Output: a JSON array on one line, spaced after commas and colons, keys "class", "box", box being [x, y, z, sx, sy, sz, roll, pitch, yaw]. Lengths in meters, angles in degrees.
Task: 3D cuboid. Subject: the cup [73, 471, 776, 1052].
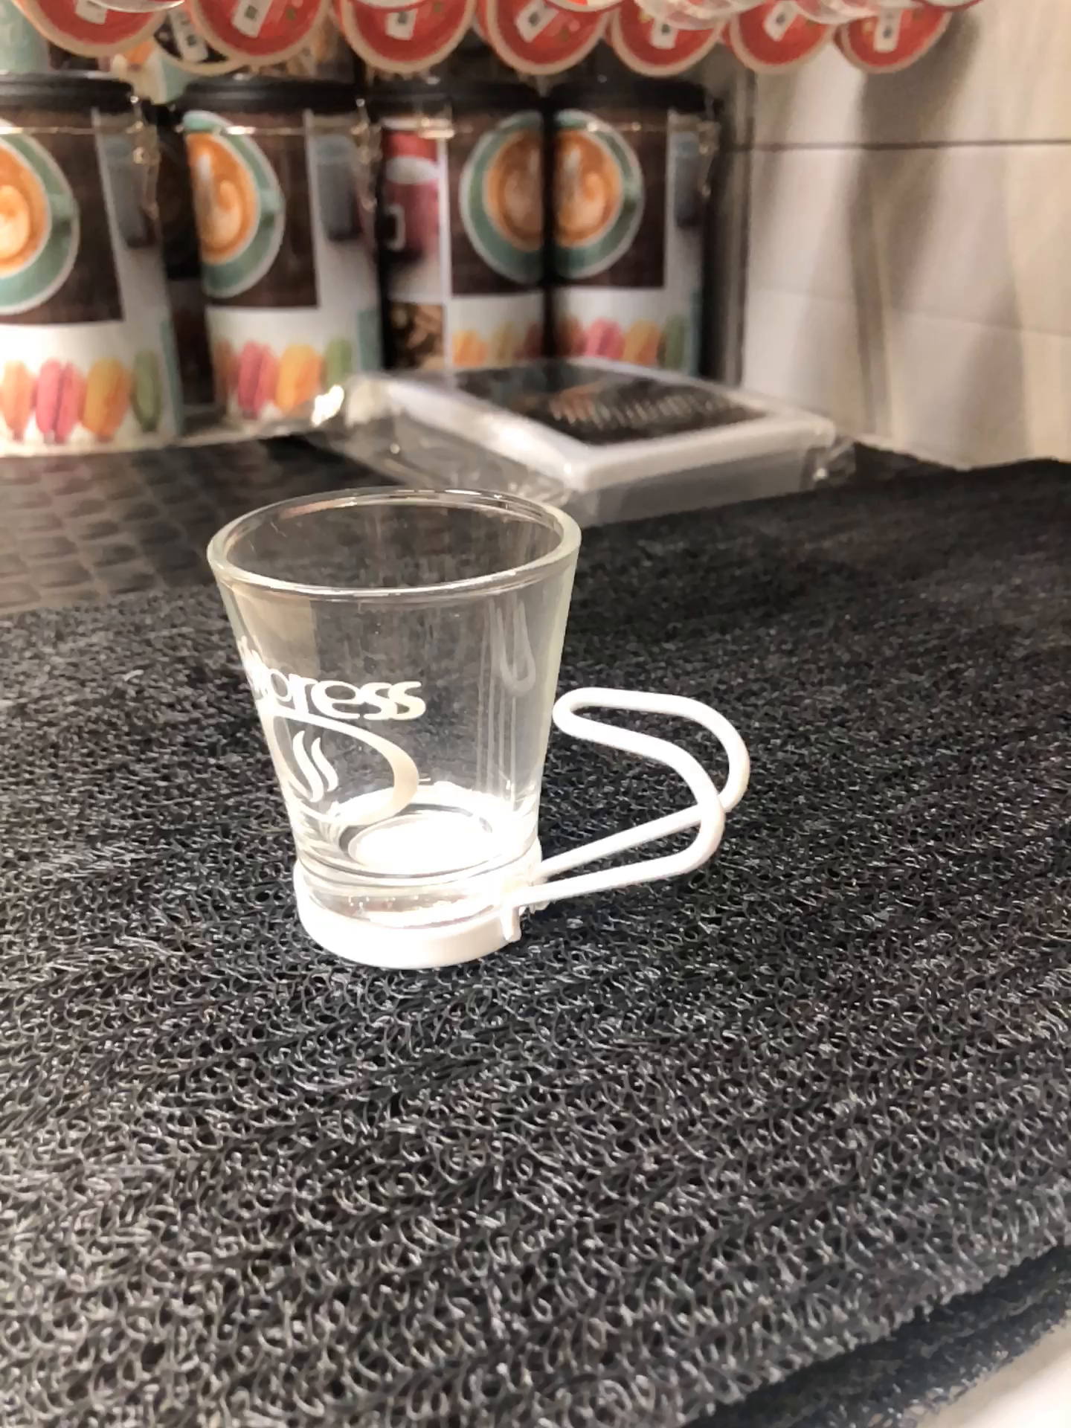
[{"class": "cup", "box": [-0.013, 0.002, 0.200, 0.092, 0.063, 0.060, 8, 30, 20]}]
